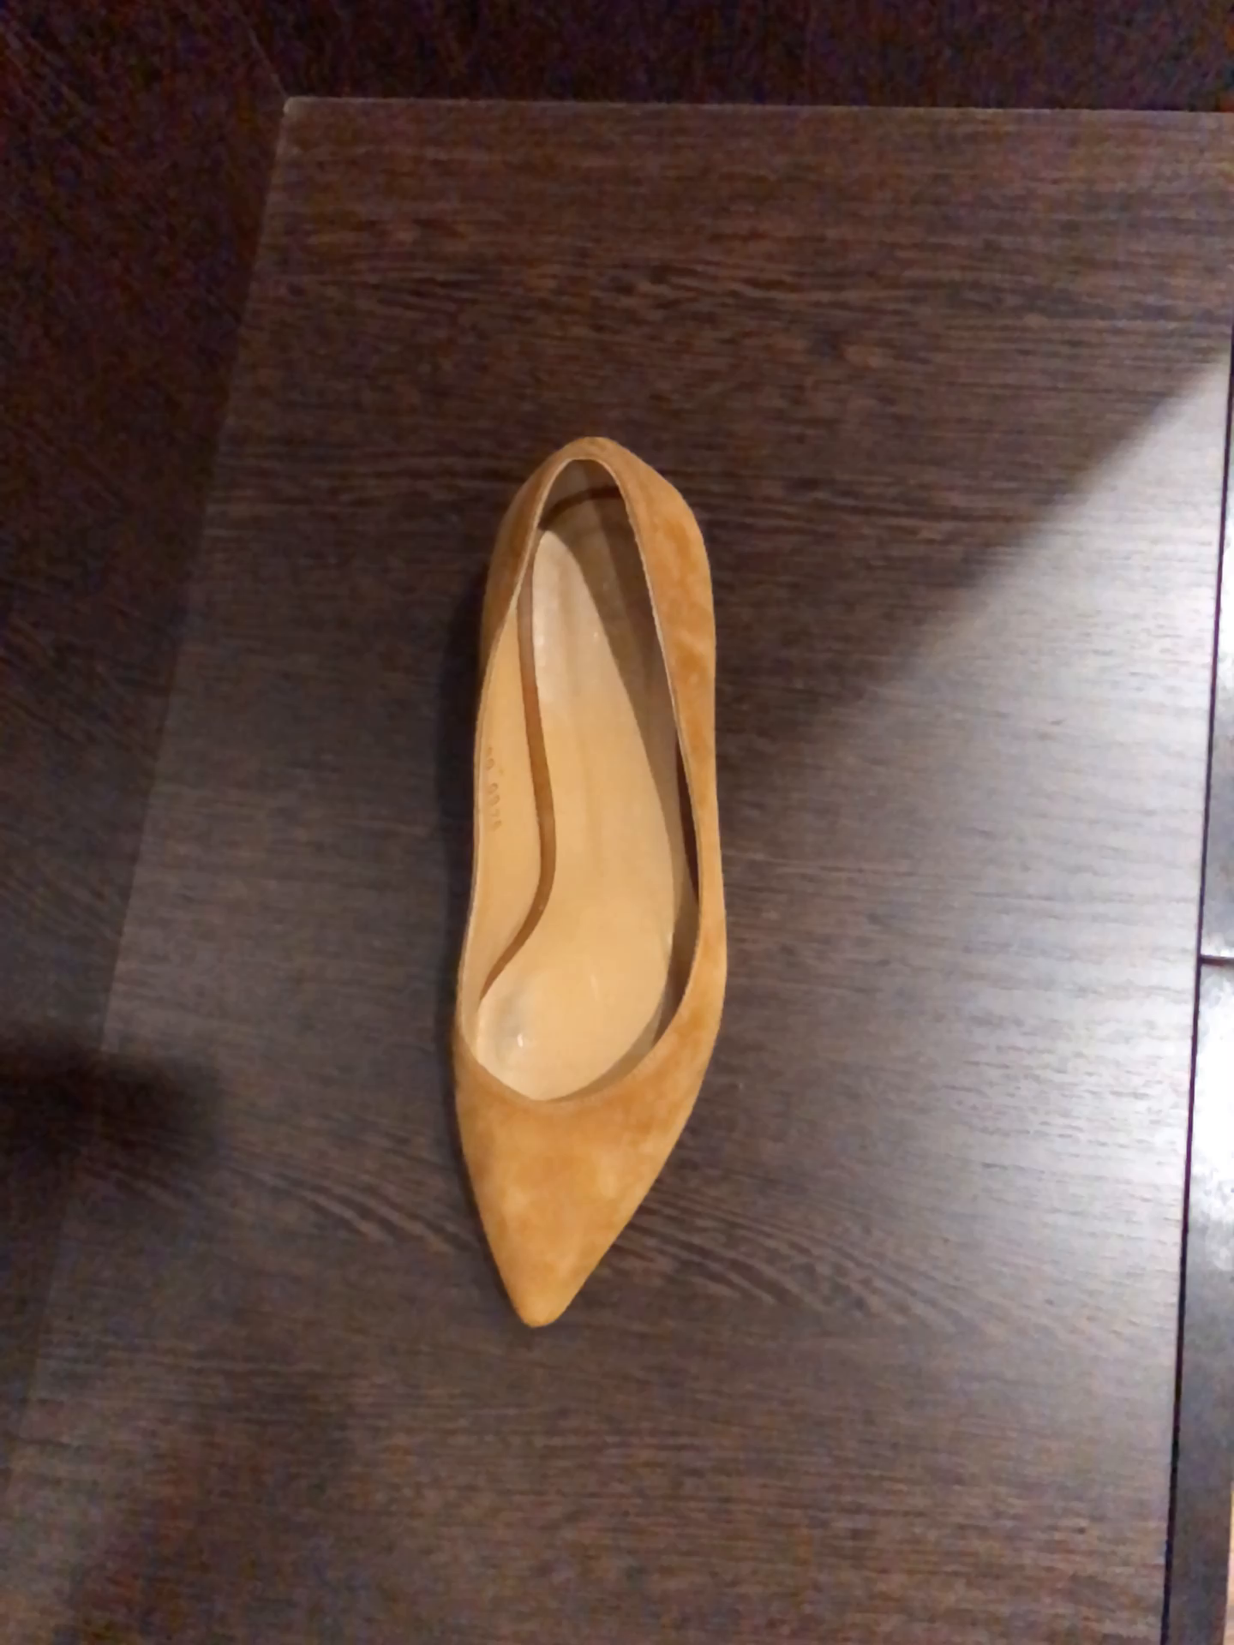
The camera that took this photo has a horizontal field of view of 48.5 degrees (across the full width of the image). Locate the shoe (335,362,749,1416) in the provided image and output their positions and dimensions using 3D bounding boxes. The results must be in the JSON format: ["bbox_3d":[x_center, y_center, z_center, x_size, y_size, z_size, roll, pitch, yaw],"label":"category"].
[{"bbox_3d":[-0.012,0.016,0.402,0.090,0.100,0.270,1,78,9],"label":"shoe"}]
